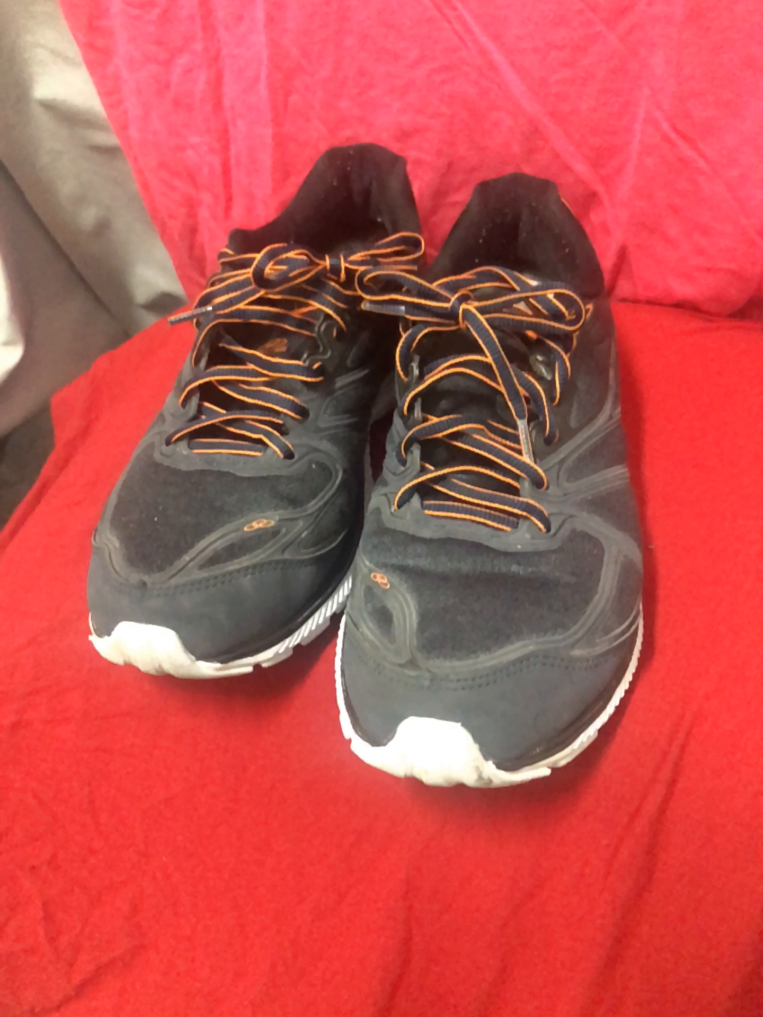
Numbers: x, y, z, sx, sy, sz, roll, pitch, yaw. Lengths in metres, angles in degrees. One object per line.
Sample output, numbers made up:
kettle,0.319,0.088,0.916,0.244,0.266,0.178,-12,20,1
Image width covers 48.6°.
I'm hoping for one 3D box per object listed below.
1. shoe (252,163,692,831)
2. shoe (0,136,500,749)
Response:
shoe,0.049,-0.035,0.345,0.110,0.099,0.282,5,44,10
shoe,-0.036,-0.057,0.358,0.110,0.089,0.282,10,46,16
